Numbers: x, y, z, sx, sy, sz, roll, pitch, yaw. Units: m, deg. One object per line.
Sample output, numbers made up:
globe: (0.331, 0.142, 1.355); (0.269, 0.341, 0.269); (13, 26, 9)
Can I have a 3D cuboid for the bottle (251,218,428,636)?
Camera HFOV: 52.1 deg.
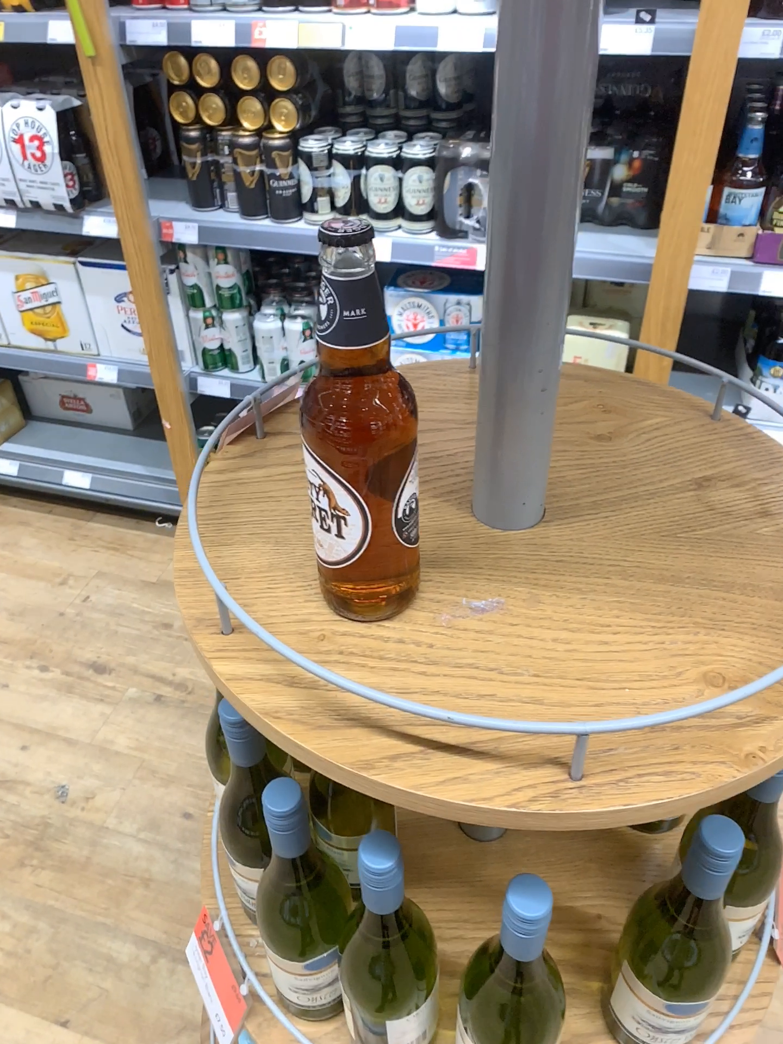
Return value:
bottle: (-0.025, -0.045, 0.468); (0.076, 0.230, 0.069); (-1, 38, 1)
